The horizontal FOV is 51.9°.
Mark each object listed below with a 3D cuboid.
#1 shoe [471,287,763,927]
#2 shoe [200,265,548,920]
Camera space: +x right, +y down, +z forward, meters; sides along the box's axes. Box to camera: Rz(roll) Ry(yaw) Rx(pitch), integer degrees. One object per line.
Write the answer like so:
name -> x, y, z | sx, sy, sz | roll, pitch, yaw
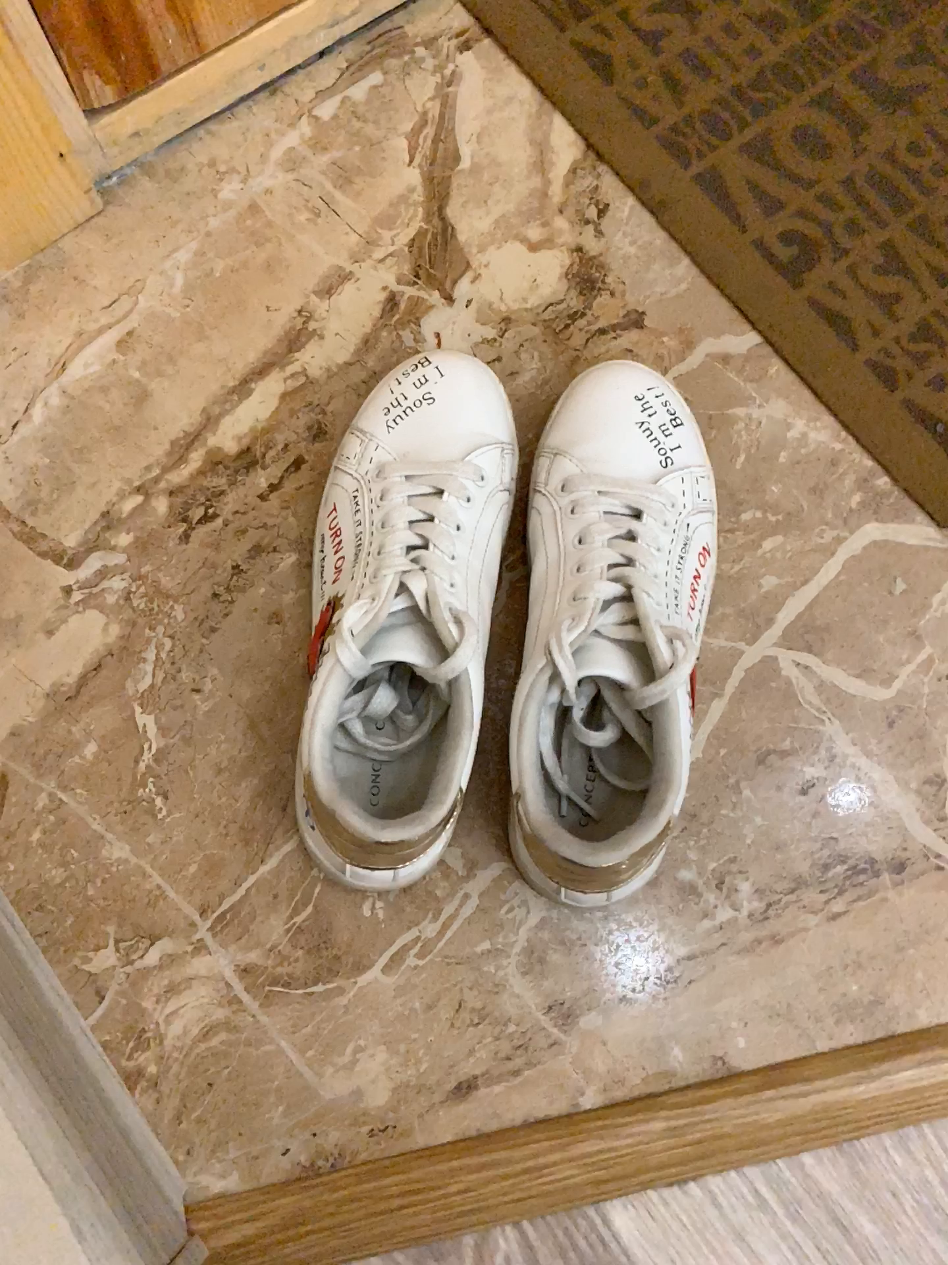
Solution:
shoe -> 0.062, -0.011, 0.430 | 0.092, 0.080, 0.256 | 8, 76, 1
shoe -> -0.034, -0.017, 0.420 | 0.092, 0.080, 0.256 | 9, 76, 1
